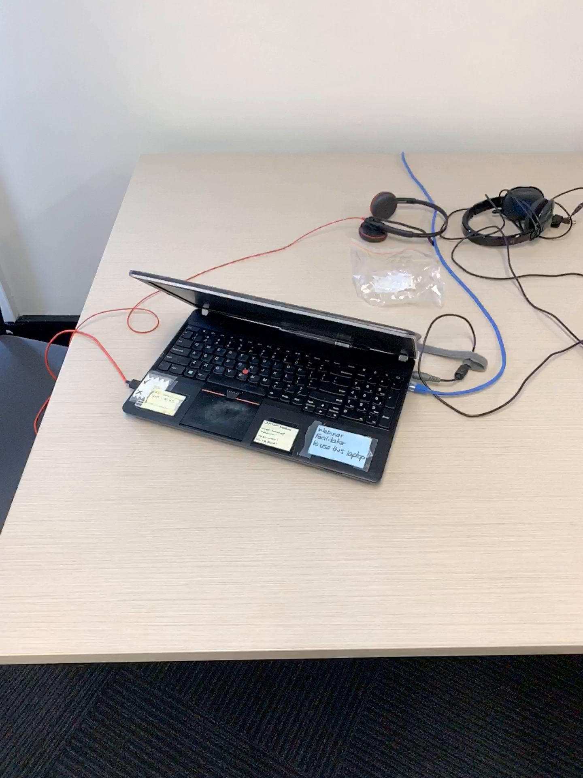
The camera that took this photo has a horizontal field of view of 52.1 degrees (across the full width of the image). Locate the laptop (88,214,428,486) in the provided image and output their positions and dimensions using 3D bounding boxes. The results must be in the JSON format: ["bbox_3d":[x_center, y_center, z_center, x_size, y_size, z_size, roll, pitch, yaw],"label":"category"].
[{"bbox_3d":[-0.025,-0.064,0.710,0.326,0.157,0.227,14,43,15],"label":"laptop"}]
